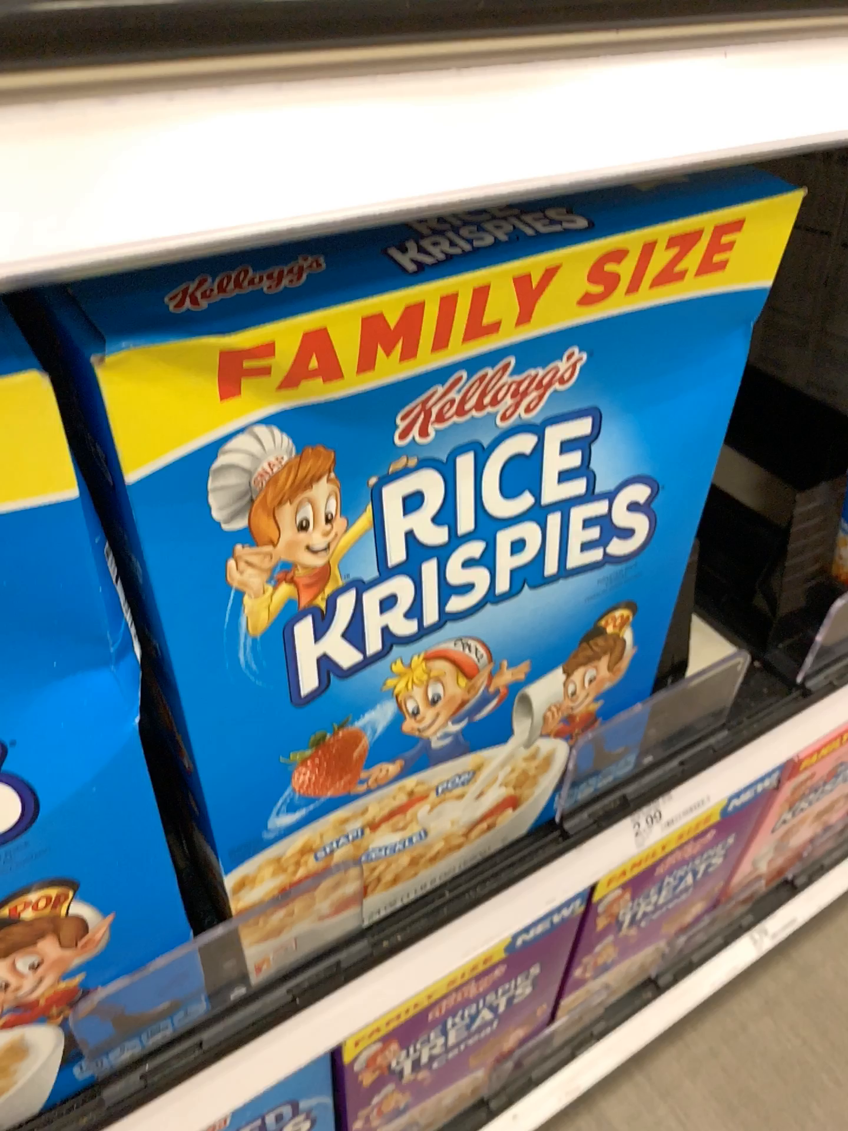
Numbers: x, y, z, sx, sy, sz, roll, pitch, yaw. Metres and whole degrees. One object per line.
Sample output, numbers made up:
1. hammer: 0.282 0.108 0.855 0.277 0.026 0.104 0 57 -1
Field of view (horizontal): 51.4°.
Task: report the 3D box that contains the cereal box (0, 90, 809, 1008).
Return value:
1. cereal box: -0.005 0.005 0.392 0.250 0.348 0.100 -23 47 -28
